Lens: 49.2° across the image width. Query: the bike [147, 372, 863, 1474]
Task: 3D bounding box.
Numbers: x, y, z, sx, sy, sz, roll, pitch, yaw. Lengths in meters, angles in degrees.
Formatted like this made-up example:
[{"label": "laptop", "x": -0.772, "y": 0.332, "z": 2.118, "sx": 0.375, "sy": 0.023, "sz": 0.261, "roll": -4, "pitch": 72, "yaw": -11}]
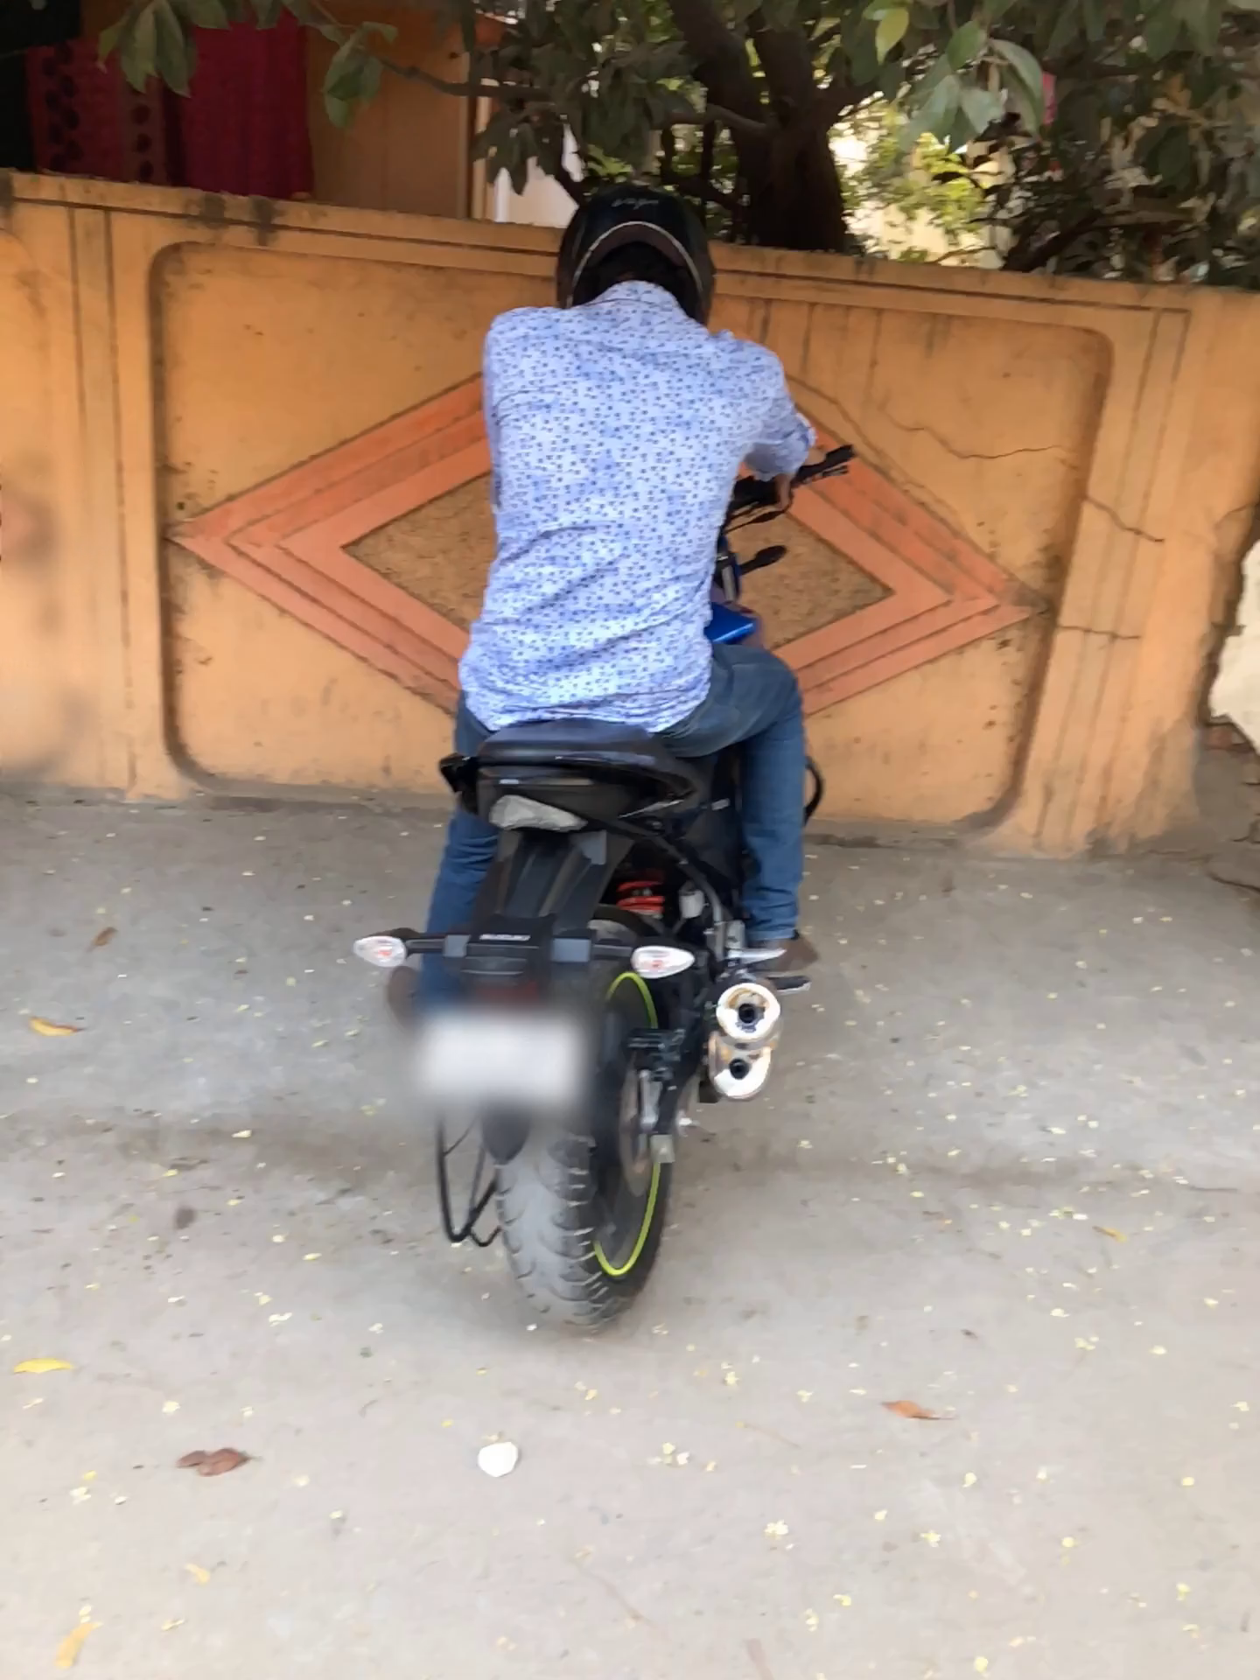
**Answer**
[{"label": "bike", "x": -0.103, "y": -0.131, "z": 2.557, "sx": 0.793, "sy": 1.188, "sz": 1.899, "roll": 8, "pitch": 23, "yaw": 5}]
